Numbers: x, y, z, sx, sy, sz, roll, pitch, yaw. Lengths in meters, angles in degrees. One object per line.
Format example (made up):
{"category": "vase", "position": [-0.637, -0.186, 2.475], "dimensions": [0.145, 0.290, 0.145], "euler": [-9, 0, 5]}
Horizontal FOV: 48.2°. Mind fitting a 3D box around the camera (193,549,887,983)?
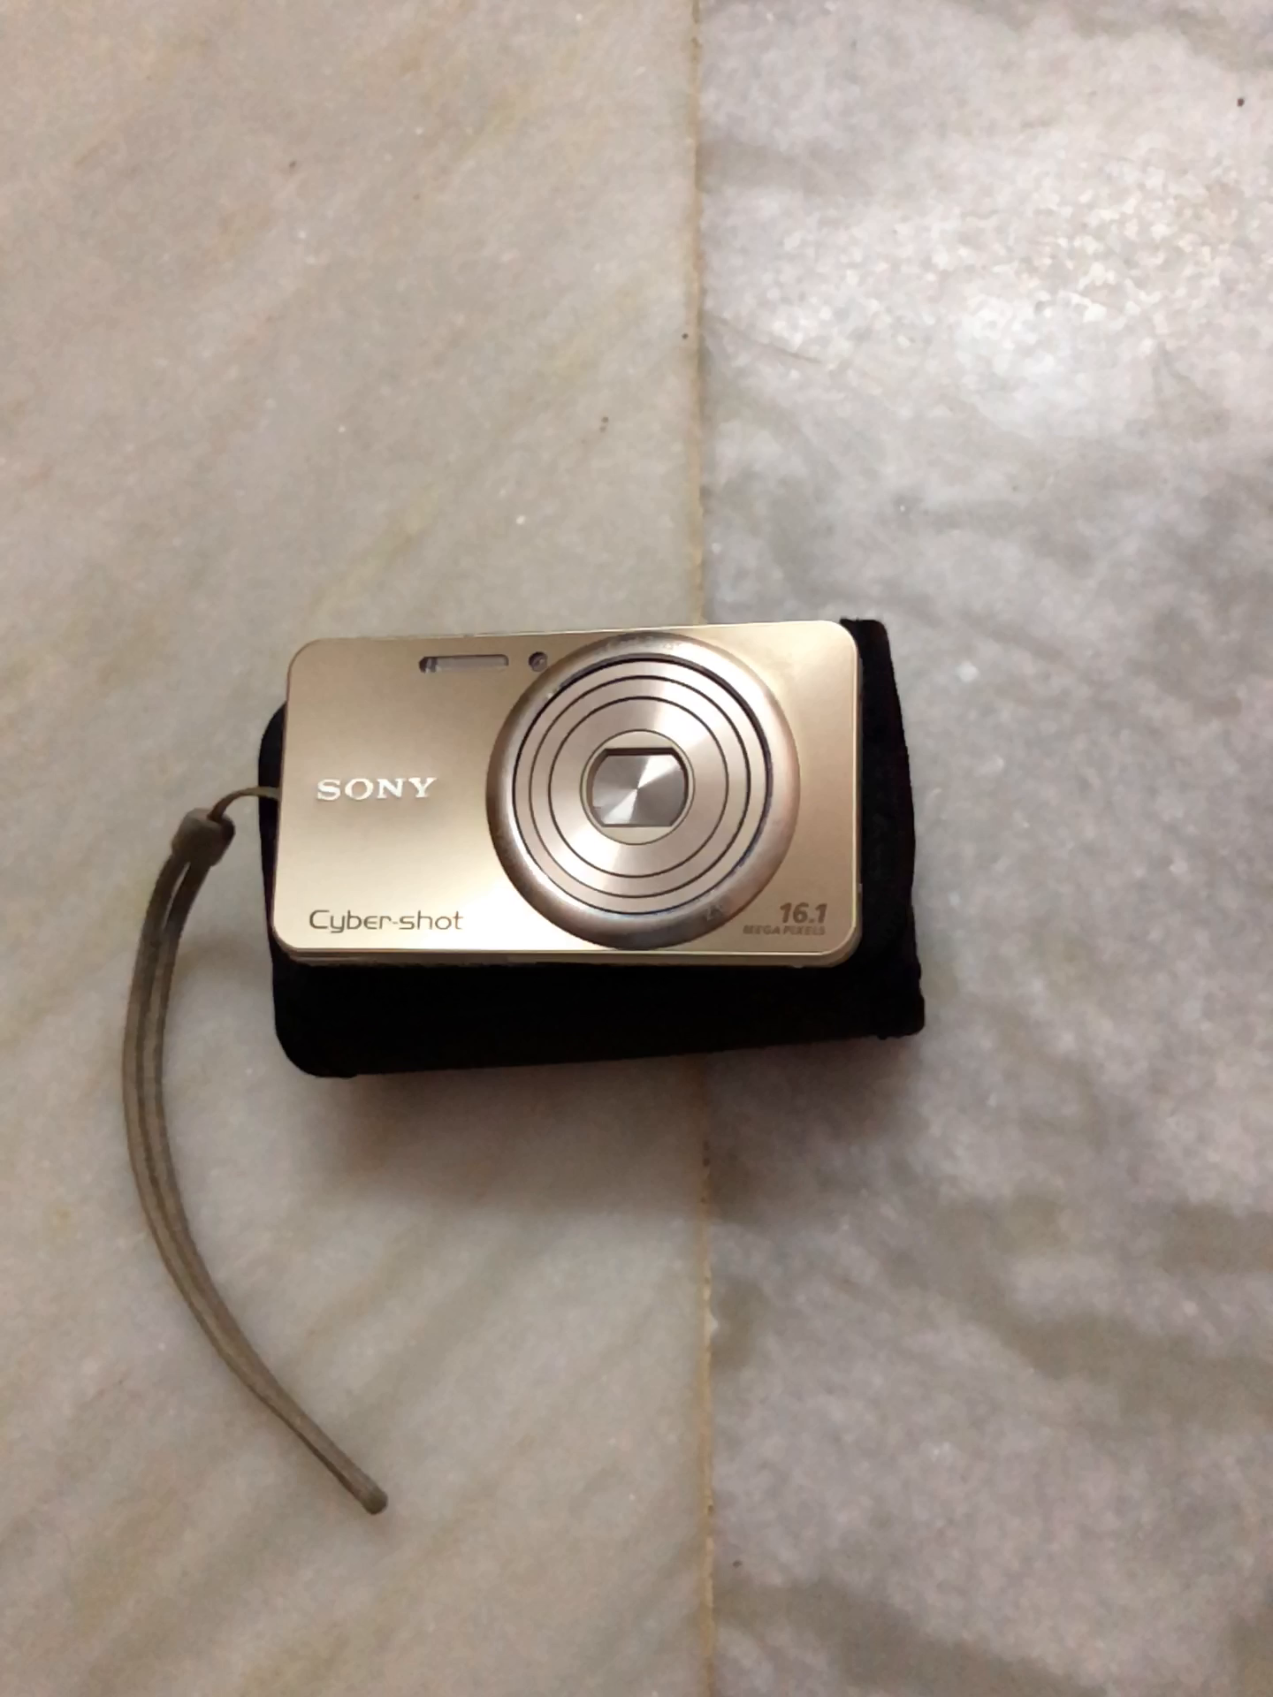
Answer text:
{"category": "camera", "position": [-0.013, -0.011, 0.216], "dimensions": [0.100, 0.020, 0.060], "euler": [-1, 78, 10]}
